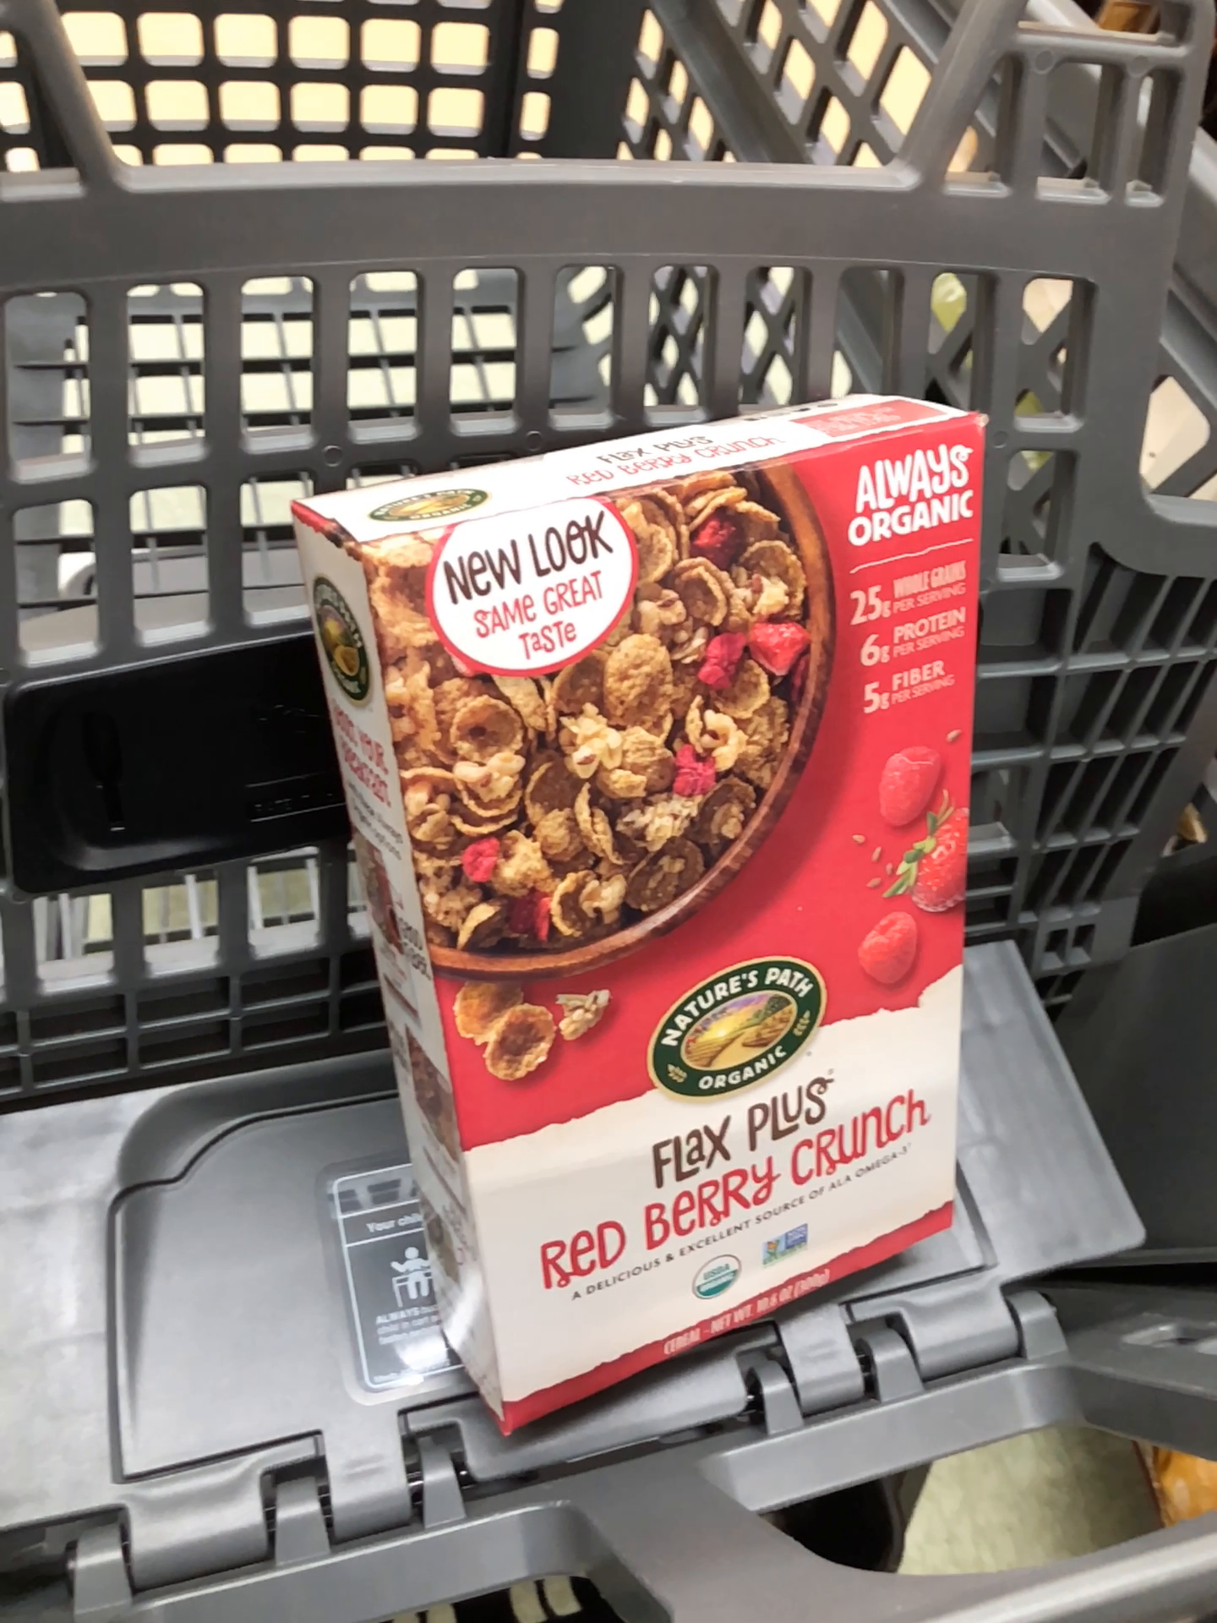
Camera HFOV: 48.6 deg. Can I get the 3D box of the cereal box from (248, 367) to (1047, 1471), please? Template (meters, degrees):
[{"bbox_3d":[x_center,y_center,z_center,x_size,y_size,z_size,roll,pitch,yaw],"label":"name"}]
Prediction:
[{"bbox_3d":[0.023,0.027,0.362,0.170,0.250,0.070,-17,27,-20],"label":"cereal box"}]
